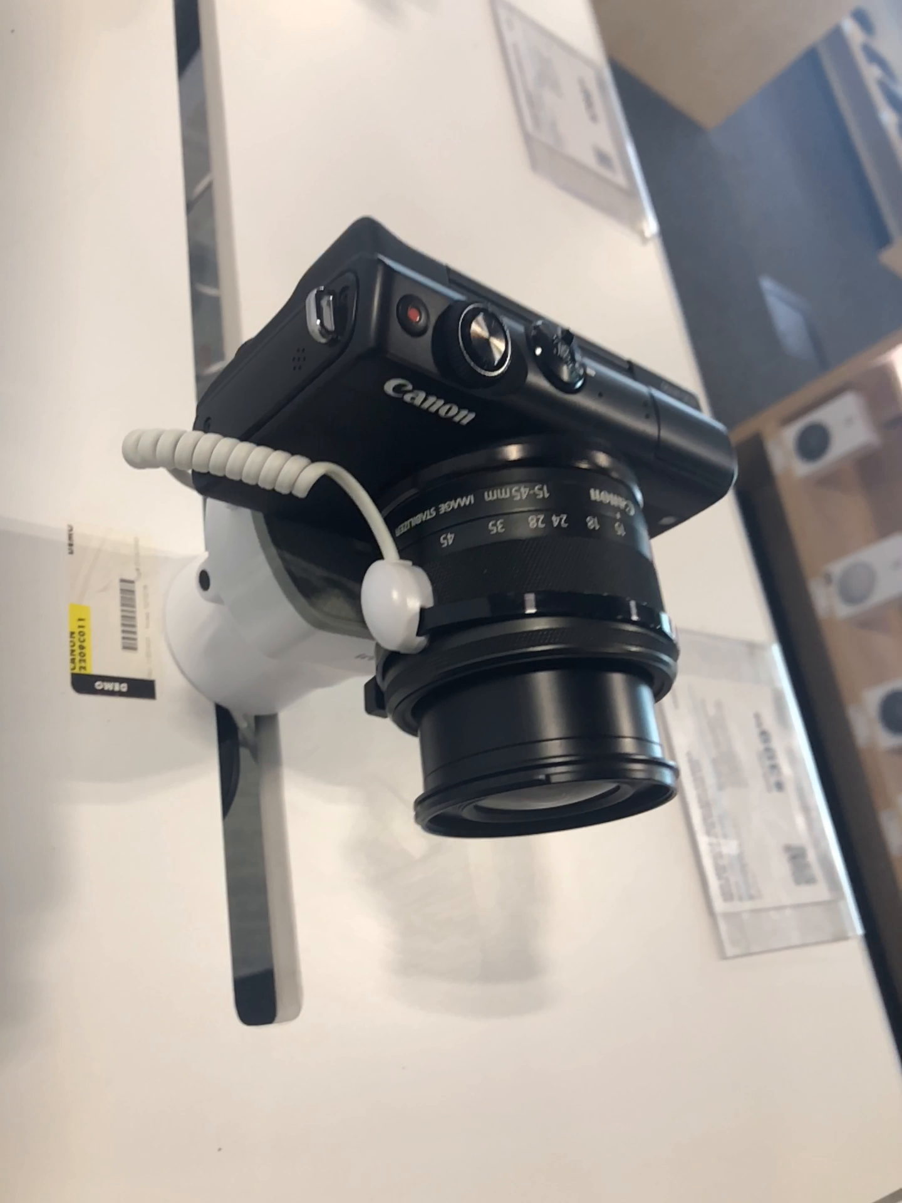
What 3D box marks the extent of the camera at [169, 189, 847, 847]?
[{"bbox_3d":[0.009,-0.004,0.209,0.110,0.072,0.091,14,58,-39],"label":"camera"}]
